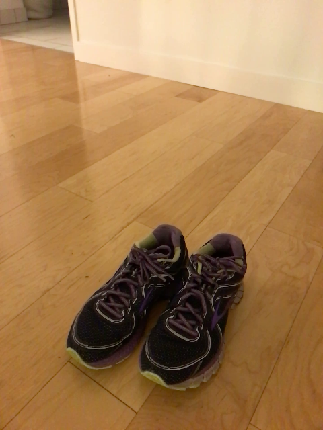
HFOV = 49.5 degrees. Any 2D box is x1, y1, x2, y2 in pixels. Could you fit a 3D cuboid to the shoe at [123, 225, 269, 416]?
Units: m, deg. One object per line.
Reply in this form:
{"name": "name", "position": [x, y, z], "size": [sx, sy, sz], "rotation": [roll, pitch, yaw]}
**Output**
{"name": "shoe", "position": [0.066, 0.133, 0.532], "size": [0.120, 0.069, 0.272], "rotation": [17, 39, 20]}

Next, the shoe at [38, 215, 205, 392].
{"name": "shoe", "position": [-0.043, 0.113, 0.543], "size": [0.110, 0.069, 0.272], "rotation": [20, 40, 23]}
